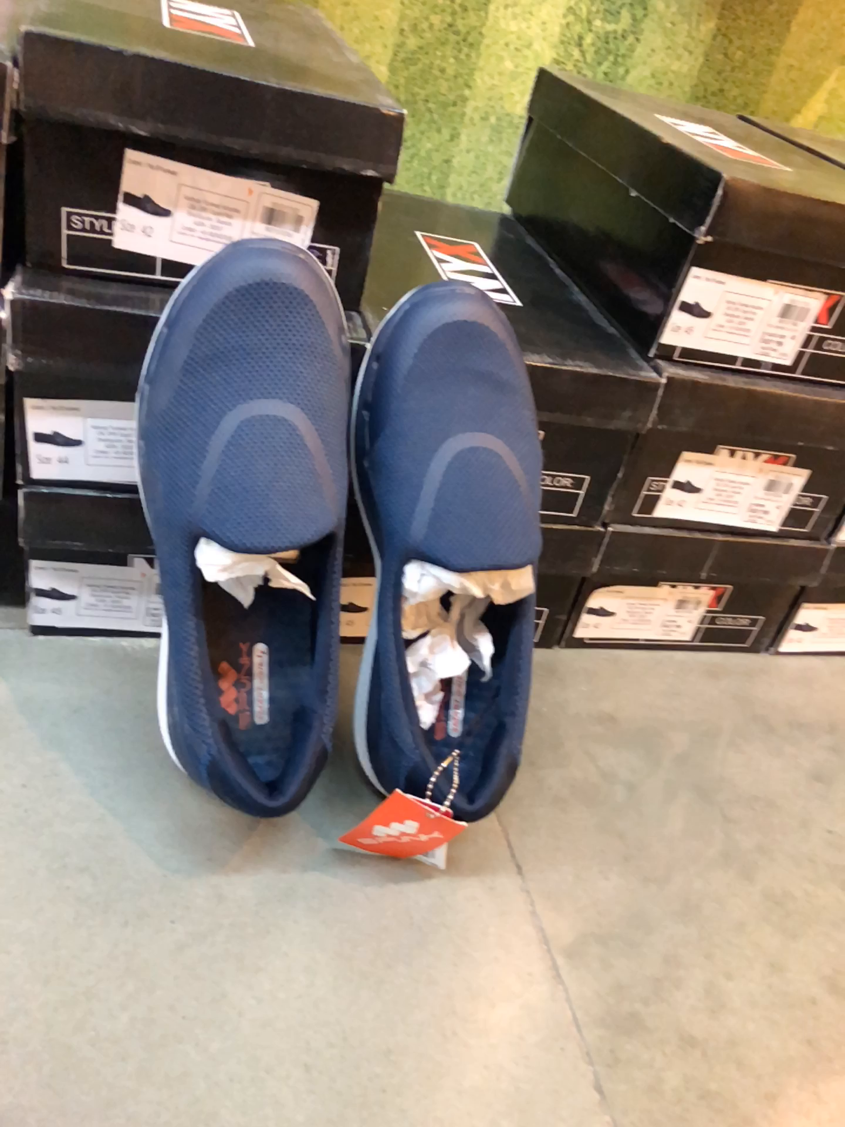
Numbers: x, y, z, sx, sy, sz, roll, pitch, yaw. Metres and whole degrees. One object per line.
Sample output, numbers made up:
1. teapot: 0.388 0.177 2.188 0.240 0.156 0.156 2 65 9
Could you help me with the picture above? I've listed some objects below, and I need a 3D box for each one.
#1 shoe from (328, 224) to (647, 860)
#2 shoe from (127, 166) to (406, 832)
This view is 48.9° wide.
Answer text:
1. shoe: 0.023 -0.010 0.457 0.107 0.273 0.099 1 10 -18
2. shoe: -0.084 -0.029 0.446 0.109 0.273 0.110 0 11 -17
